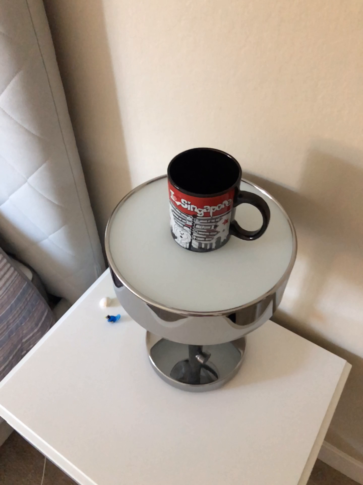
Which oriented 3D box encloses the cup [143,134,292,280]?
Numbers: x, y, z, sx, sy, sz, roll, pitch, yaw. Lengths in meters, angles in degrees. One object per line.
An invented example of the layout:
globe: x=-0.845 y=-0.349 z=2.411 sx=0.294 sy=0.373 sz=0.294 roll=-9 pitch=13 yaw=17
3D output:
cup: x=0.039 y=-0.041 z=0.450 sx=0.130 sy=0.100 sz=0.090 roll=17 pitch=52 yaw=14
